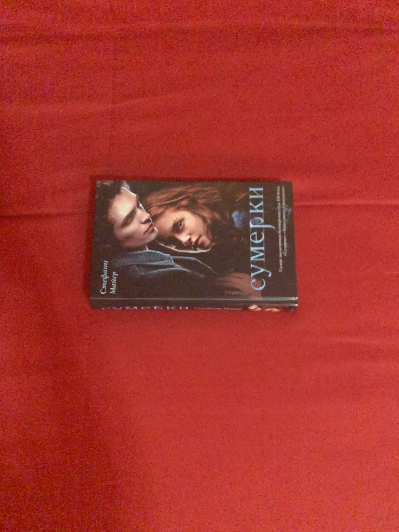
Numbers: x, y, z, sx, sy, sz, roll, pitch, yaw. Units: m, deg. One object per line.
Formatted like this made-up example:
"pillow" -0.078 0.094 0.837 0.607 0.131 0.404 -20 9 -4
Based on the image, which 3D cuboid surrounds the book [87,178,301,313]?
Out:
"book" -0.005 -0.021 0.429 0.209 0.036 0.134 1 81 0
